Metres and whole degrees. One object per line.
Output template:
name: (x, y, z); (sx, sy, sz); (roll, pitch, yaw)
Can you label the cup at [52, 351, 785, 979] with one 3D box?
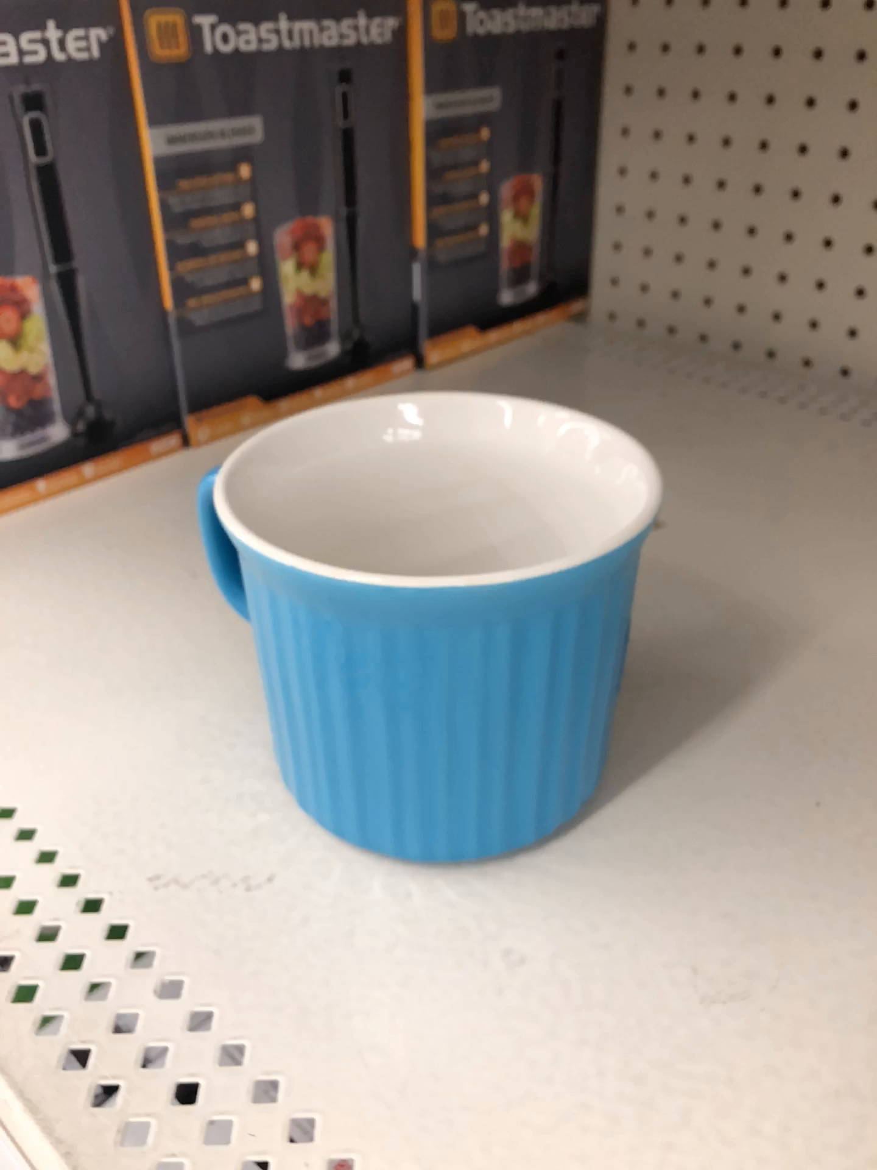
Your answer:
cup: (-0.001, 0.006, 0.297); (0.161, 0.093, 0.126); (17, 36, 27)
